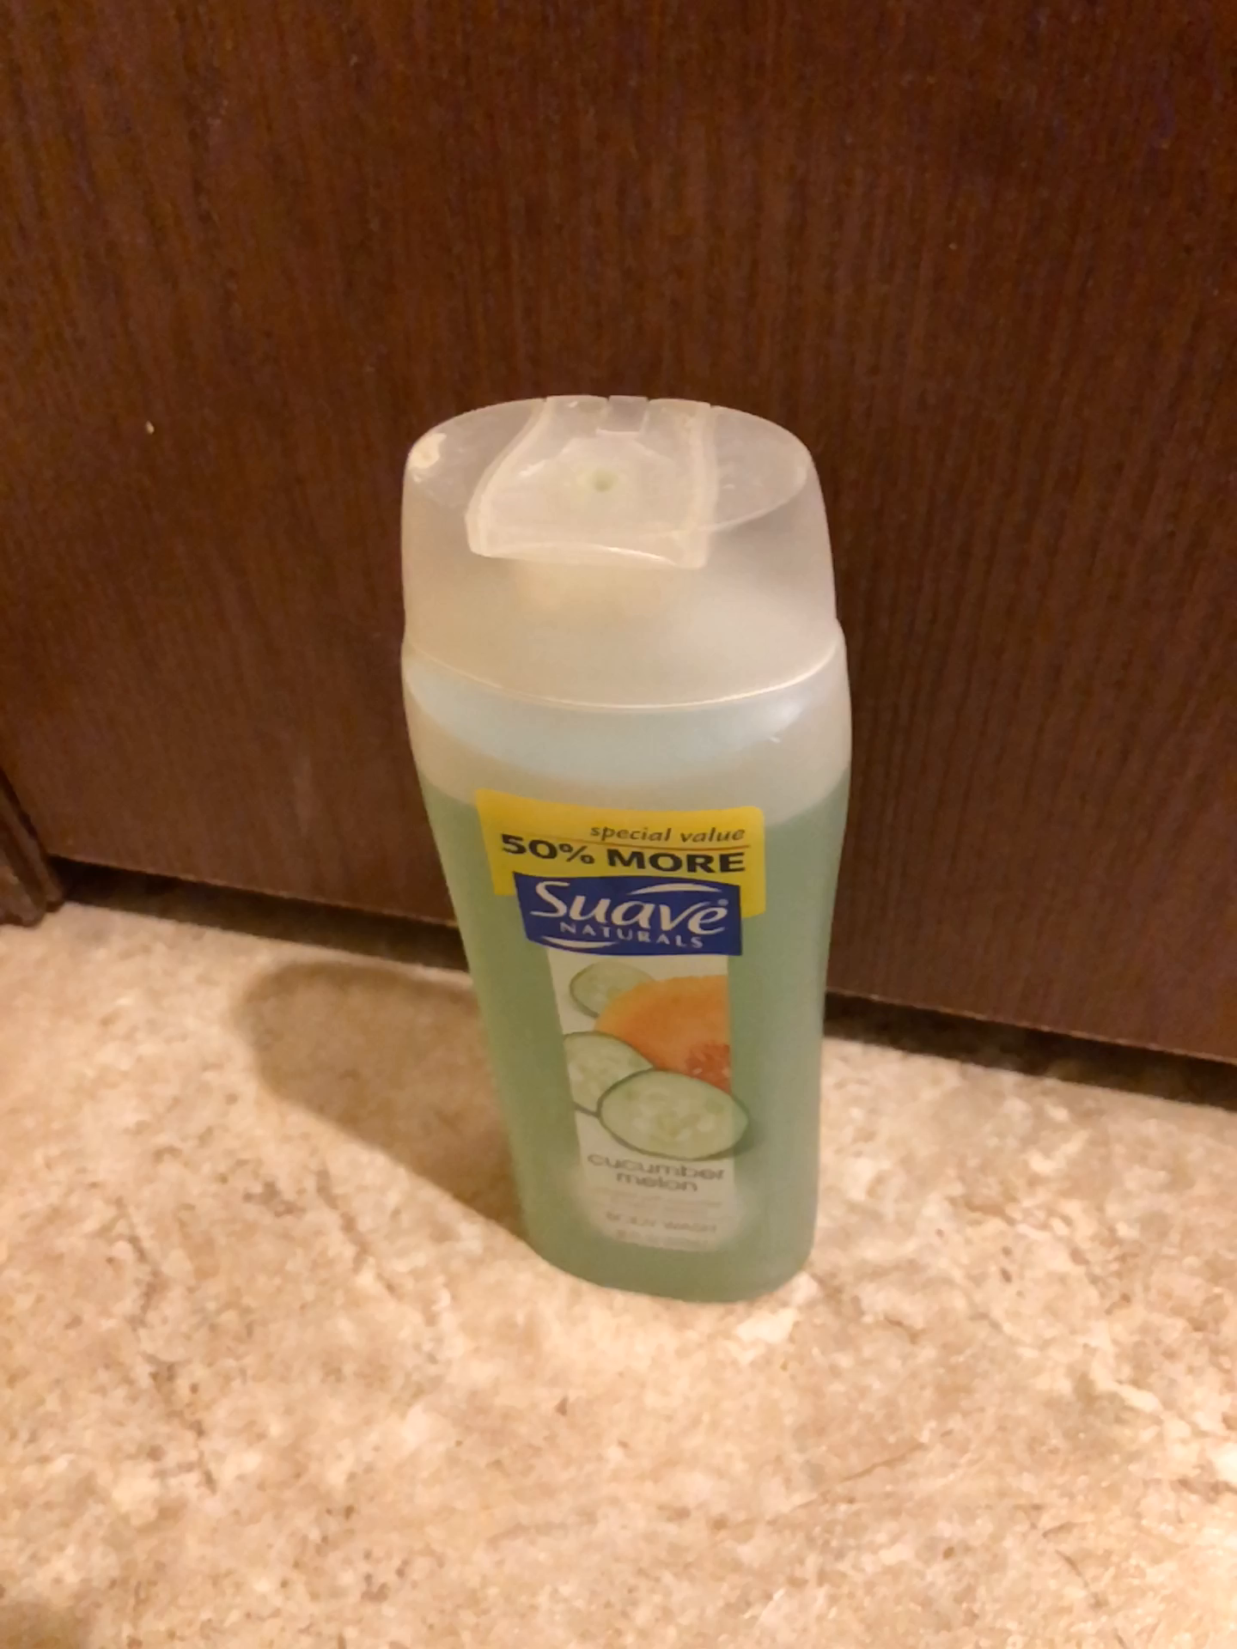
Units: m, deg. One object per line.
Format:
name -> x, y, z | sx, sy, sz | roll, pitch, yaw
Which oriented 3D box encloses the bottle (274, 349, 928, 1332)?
bottle -> 0.008, 0.025, 0.292 | 0.090, 0.240, 0.050 | 4, 47, 9
